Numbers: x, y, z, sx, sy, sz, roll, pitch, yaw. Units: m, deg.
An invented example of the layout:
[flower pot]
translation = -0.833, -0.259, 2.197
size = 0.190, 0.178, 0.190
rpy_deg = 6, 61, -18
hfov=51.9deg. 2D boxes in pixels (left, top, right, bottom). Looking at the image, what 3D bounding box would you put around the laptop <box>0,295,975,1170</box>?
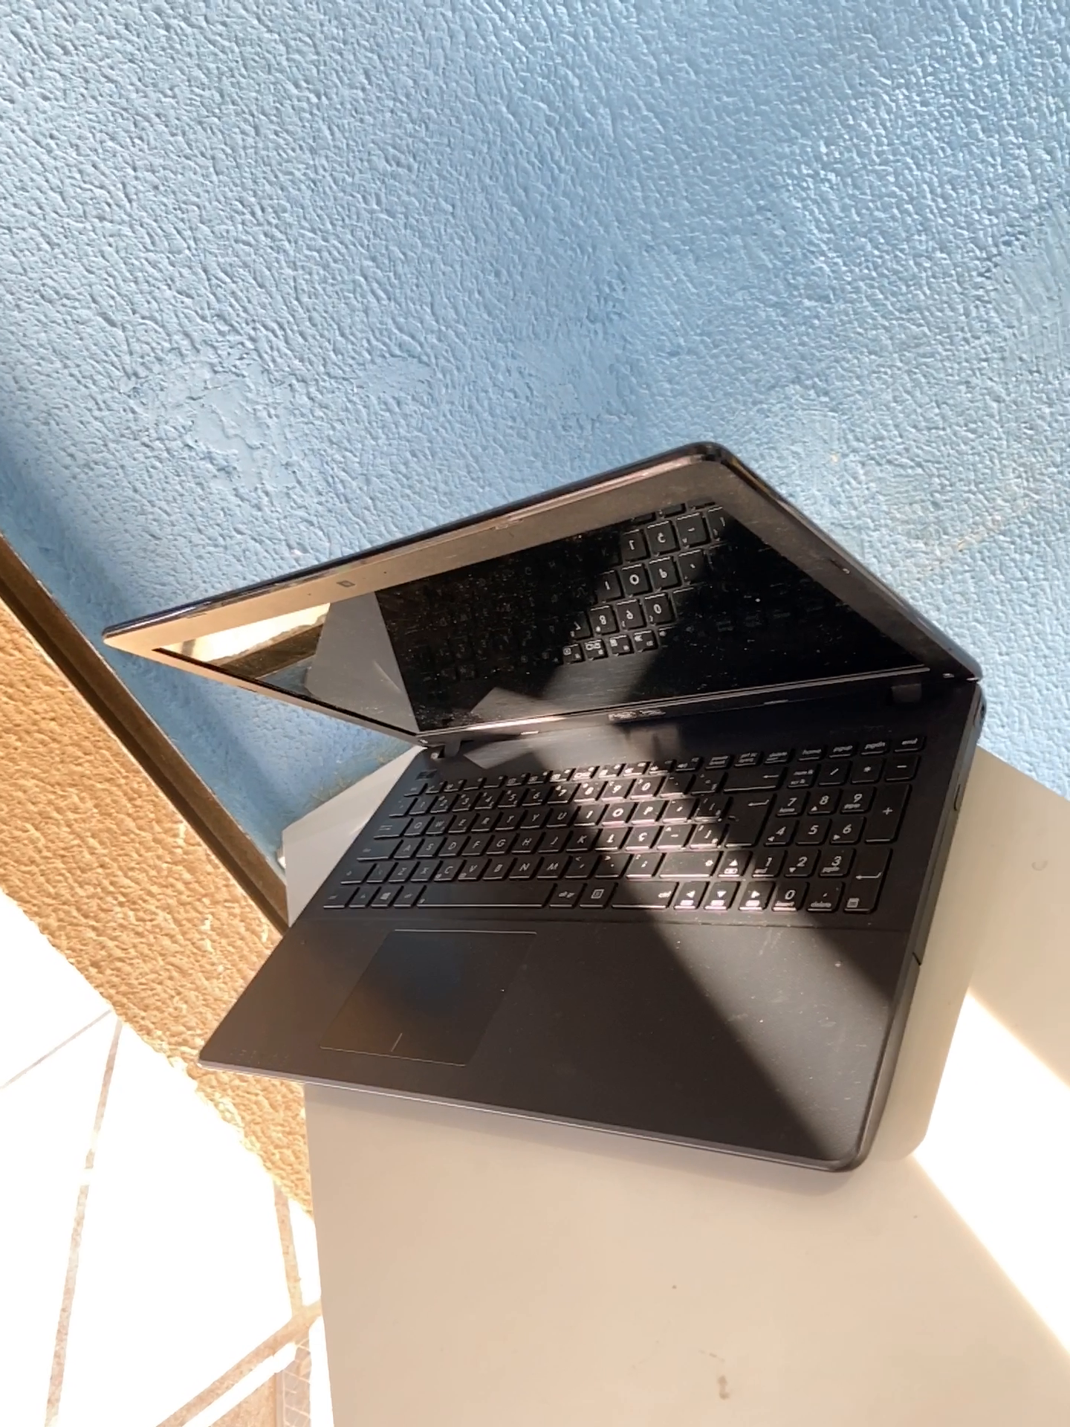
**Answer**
[laptop]
translation = -0.035, 0.013, 0.509
size = 0.373, 0.190, 0.239
rpy_deg = -9, 34, 41
